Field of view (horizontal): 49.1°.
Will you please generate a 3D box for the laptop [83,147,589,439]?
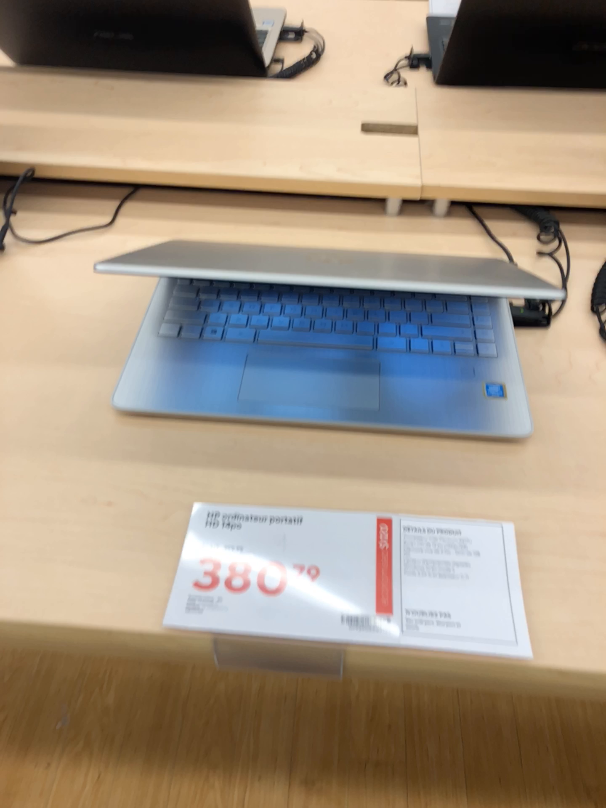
[{"bbox_3d":[0.015,-0.104,0.527,0.318,0.104,0.217,4,44,9],"label":"laptop"}]
